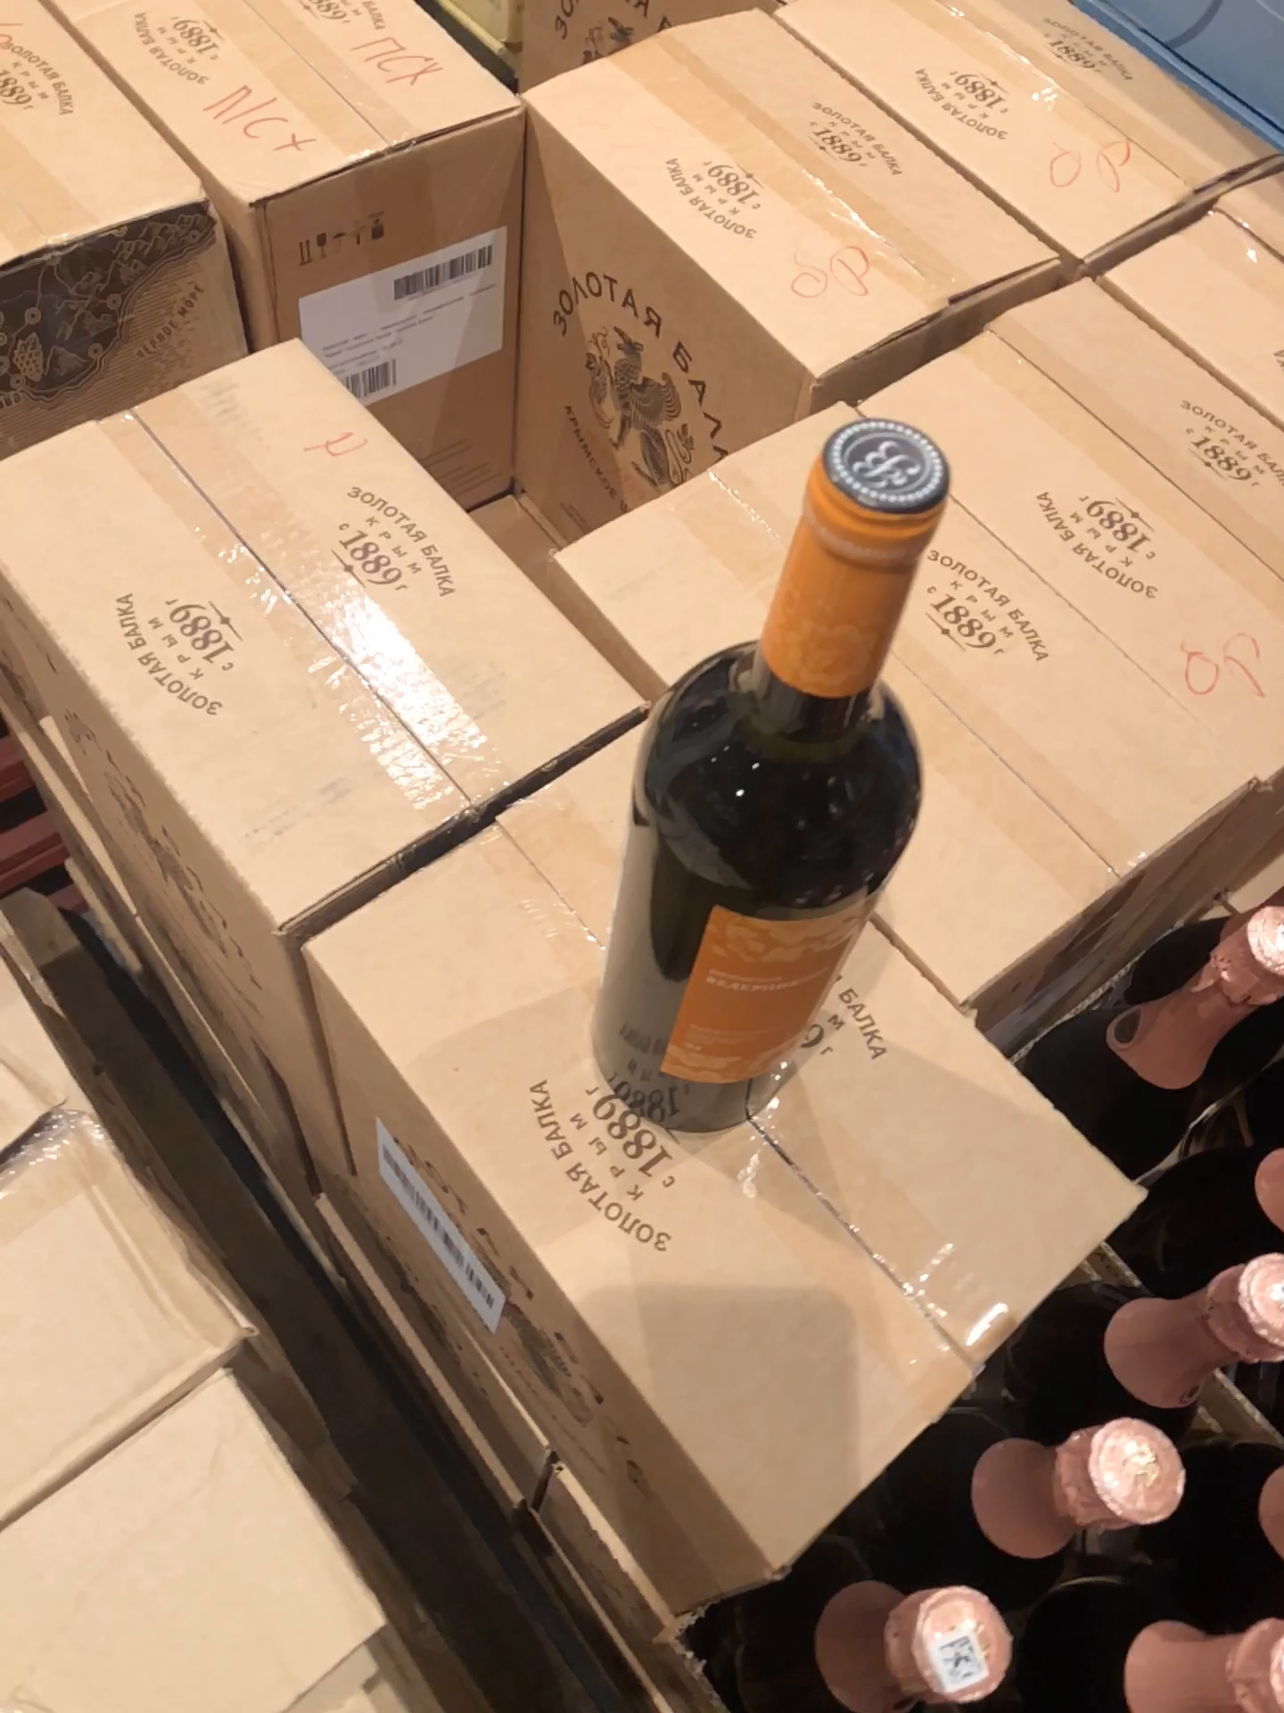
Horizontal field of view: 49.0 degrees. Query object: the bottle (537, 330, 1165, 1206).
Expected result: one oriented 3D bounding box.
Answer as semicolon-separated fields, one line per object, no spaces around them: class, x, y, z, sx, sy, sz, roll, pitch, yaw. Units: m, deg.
bottle;0.033;0.002;0.410;0.090;0.279;0.090;2;60;-4
